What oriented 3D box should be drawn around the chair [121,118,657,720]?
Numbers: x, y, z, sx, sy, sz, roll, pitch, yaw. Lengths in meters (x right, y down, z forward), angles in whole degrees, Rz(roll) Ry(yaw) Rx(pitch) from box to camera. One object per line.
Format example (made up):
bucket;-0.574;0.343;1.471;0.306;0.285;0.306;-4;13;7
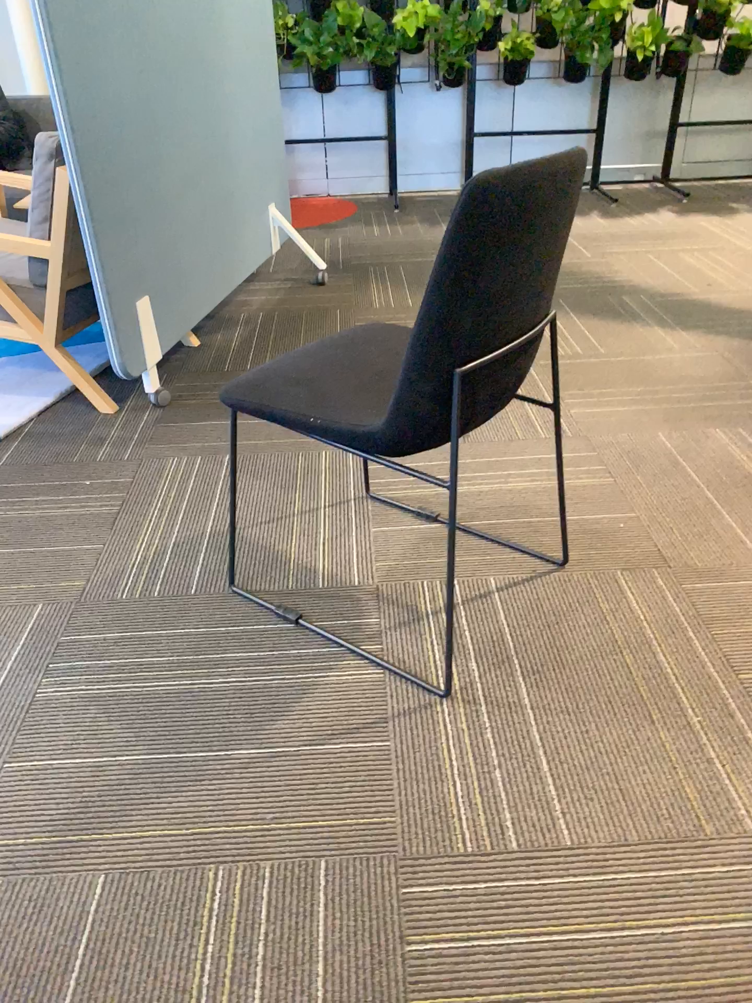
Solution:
chair;0.034;-0.185;1.268;0.572;0.745;0.491;21;38;33
